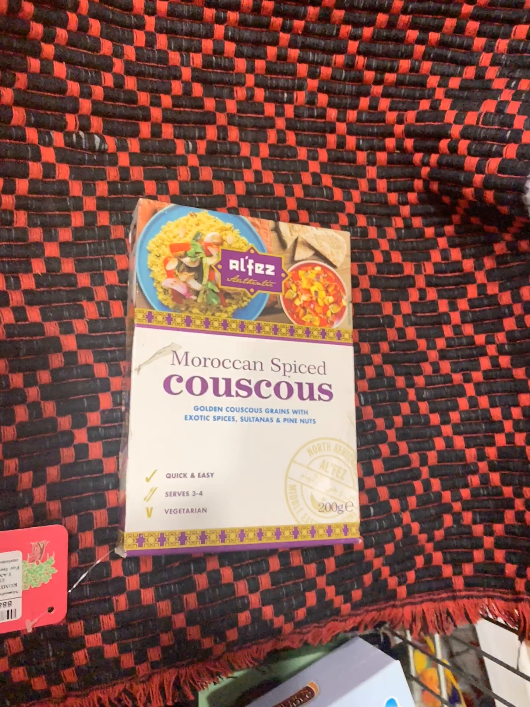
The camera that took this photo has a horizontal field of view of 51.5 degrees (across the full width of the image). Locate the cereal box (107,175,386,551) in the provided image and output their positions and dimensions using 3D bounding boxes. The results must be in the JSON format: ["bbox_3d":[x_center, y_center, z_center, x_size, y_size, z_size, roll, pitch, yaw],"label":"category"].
[{"bbox_3d":[-0.009,0.008,0.273,0.120,0.050,0.160,5,77,-20],"label":"cereal box"}]
